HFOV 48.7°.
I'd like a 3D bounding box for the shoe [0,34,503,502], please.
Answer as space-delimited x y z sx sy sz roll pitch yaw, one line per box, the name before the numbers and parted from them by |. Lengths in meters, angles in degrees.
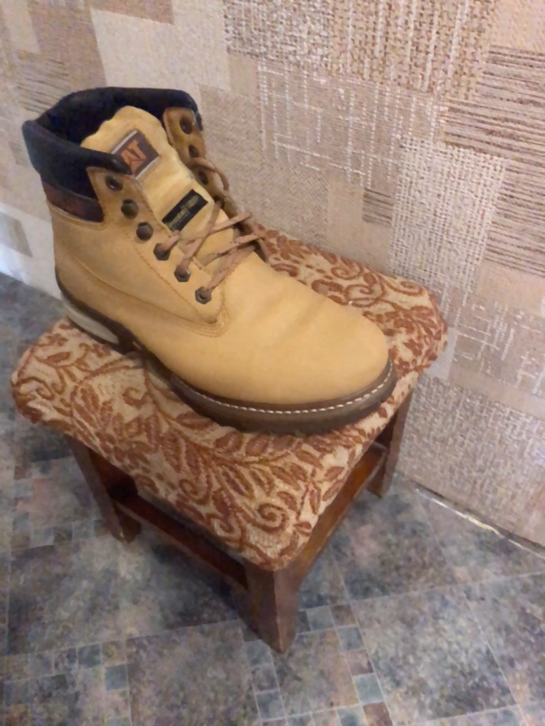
shoe | -0.040 -0.078 0.418 0.311 0.189 0.140 24 52 22
